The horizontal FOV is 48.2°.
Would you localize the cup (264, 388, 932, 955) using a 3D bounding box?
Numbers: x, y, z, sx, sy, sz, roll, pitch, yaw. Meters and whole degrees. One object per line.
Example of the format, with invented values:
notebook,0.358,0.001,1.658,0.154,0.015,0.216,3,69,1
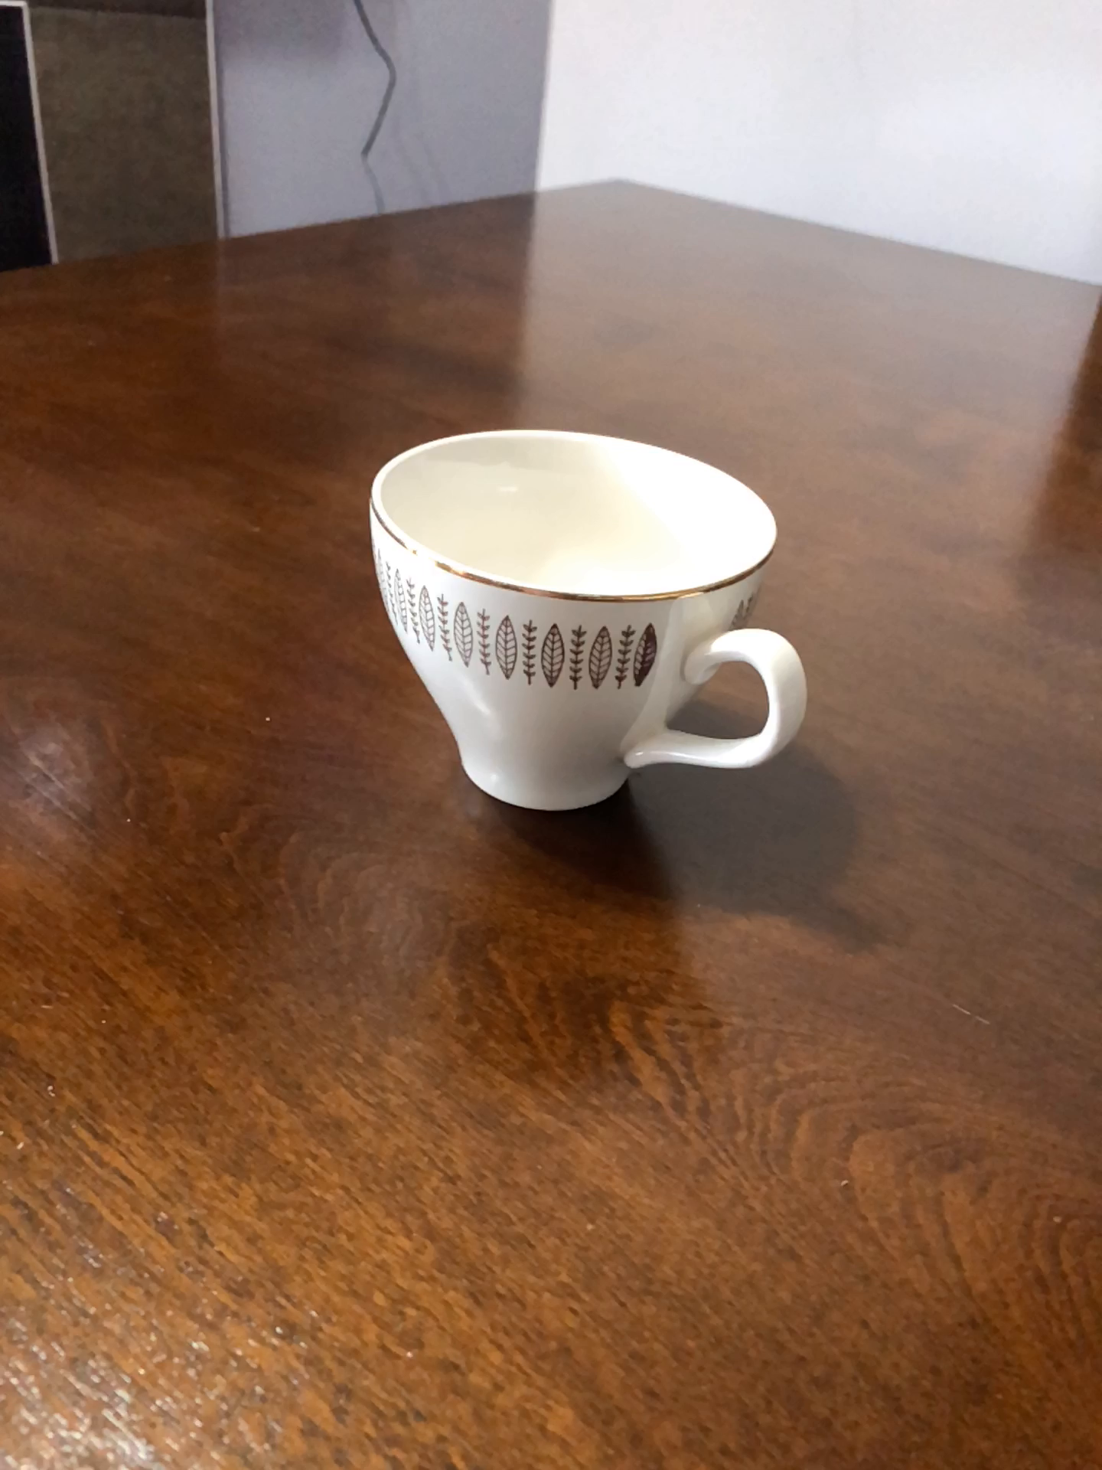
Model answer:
cup,0.008,-0.023,0.262,0.100,0.060,0.090,29,39,30
